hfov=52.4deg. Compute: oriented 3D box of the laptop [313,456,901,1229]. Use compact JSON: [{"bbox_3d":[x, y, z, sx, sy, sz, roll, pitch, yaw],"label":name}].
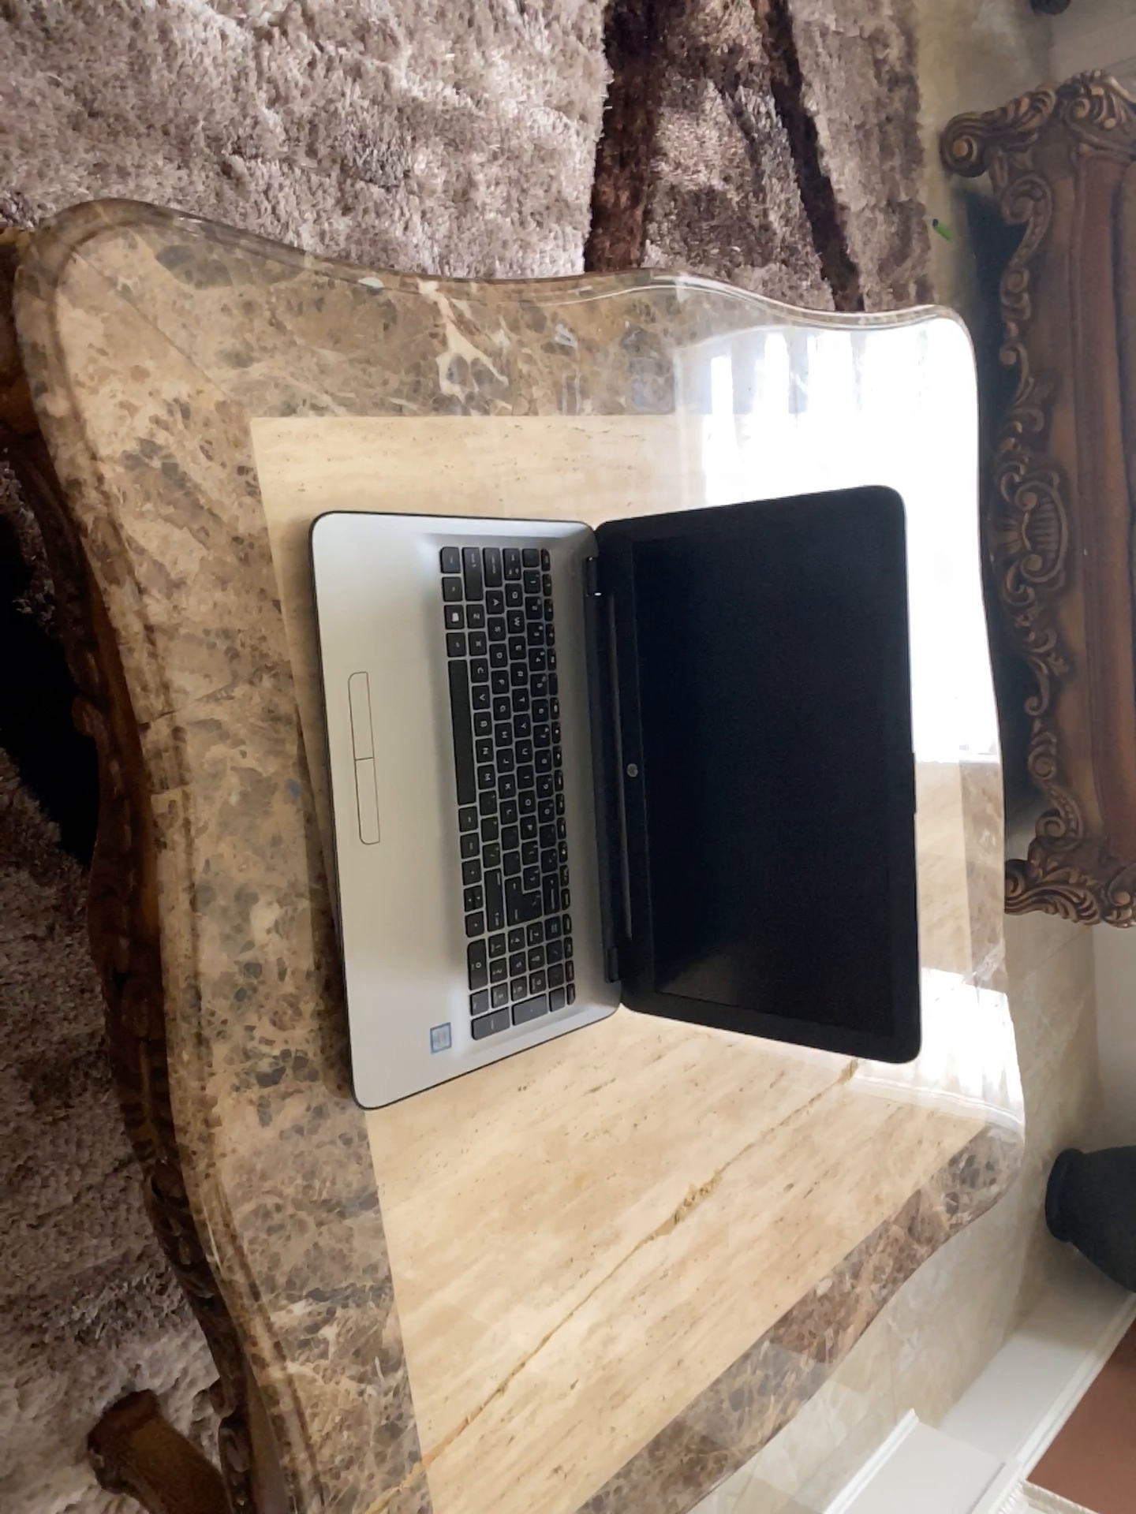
[{"bbox_3d":[0.033,0.029,0.726,0.266,0.240,0.371,-10,99,-46],"label":"laptop"}]
